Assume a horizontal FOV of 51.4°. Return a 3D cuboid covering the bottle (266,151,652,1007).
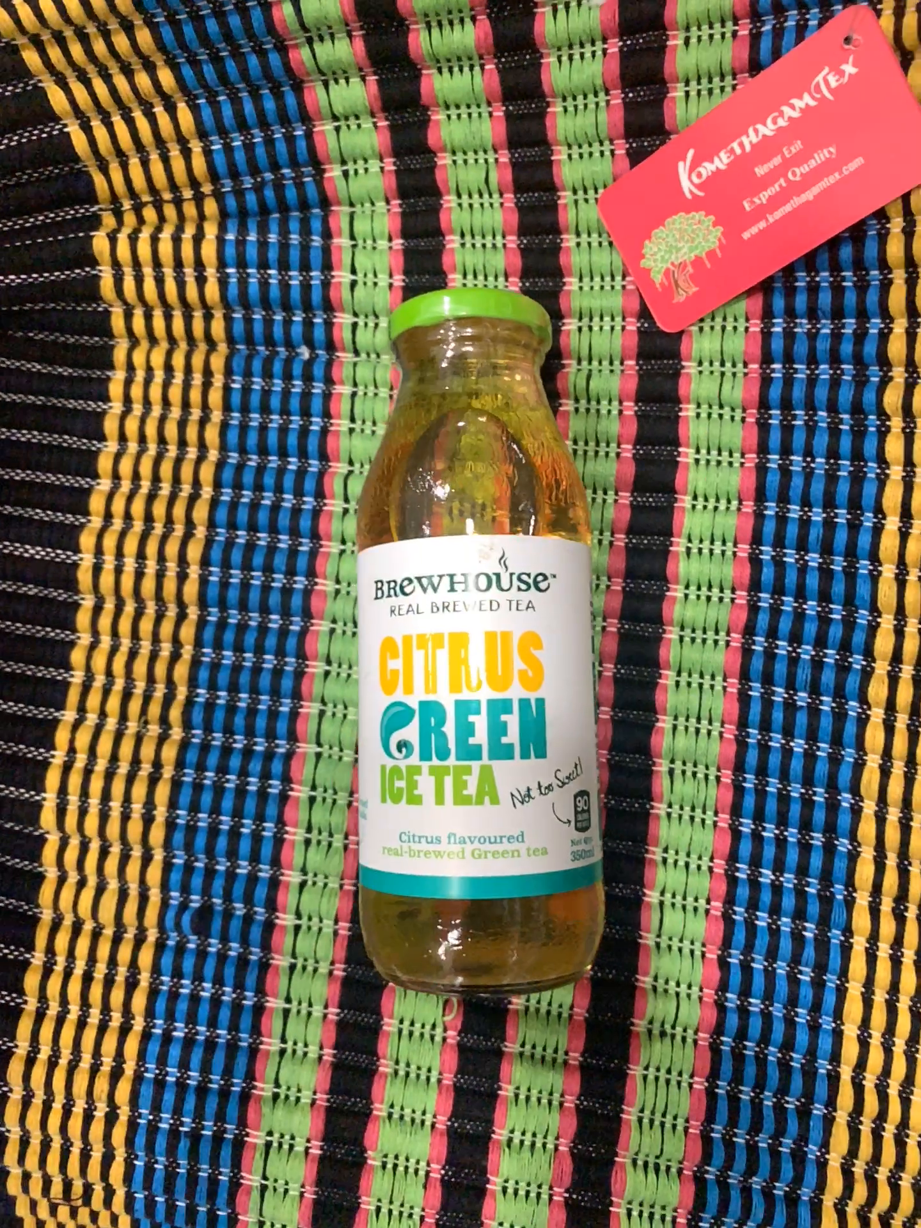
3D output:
[{"bbox_3d":[0.000,-0.008,0.246,0.080,0.070,0.190,-2,82,4],"label":"bottle"}]
